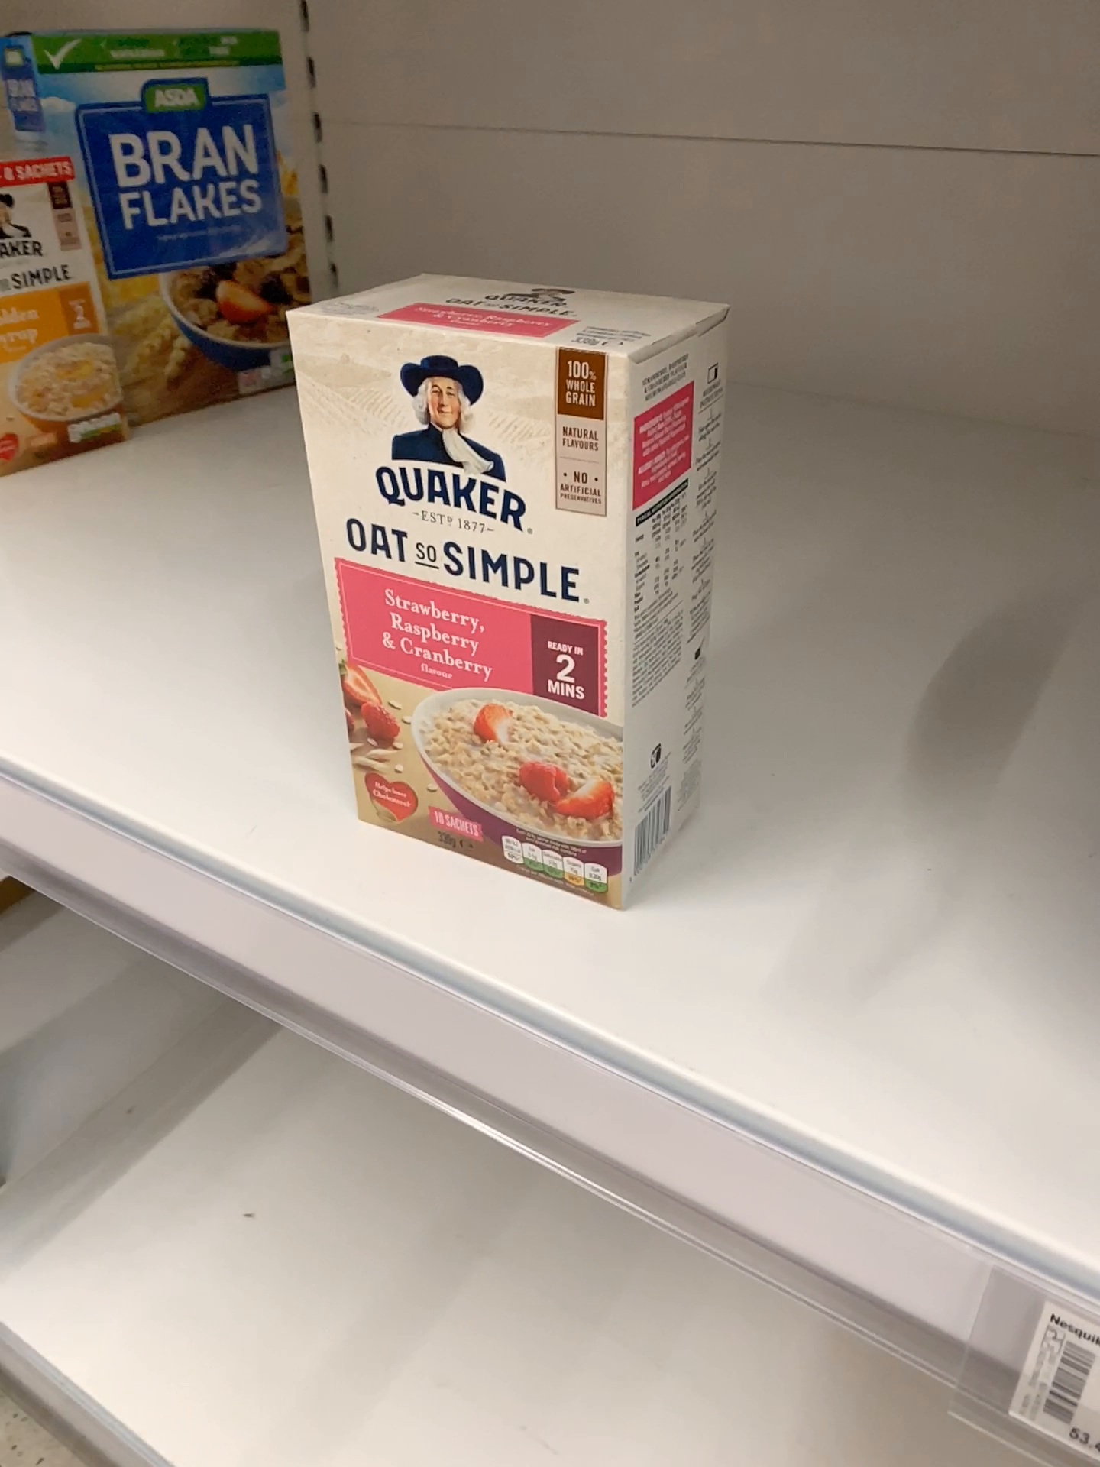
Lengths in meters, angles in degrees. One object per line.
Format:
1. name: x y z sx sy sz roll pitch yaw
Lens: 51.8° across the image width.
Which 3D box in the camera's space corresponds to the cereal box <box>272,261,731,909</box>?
1. cereal box: -0.014 -0.057 0.431 0.130 0.208 0.081 15 36 24
